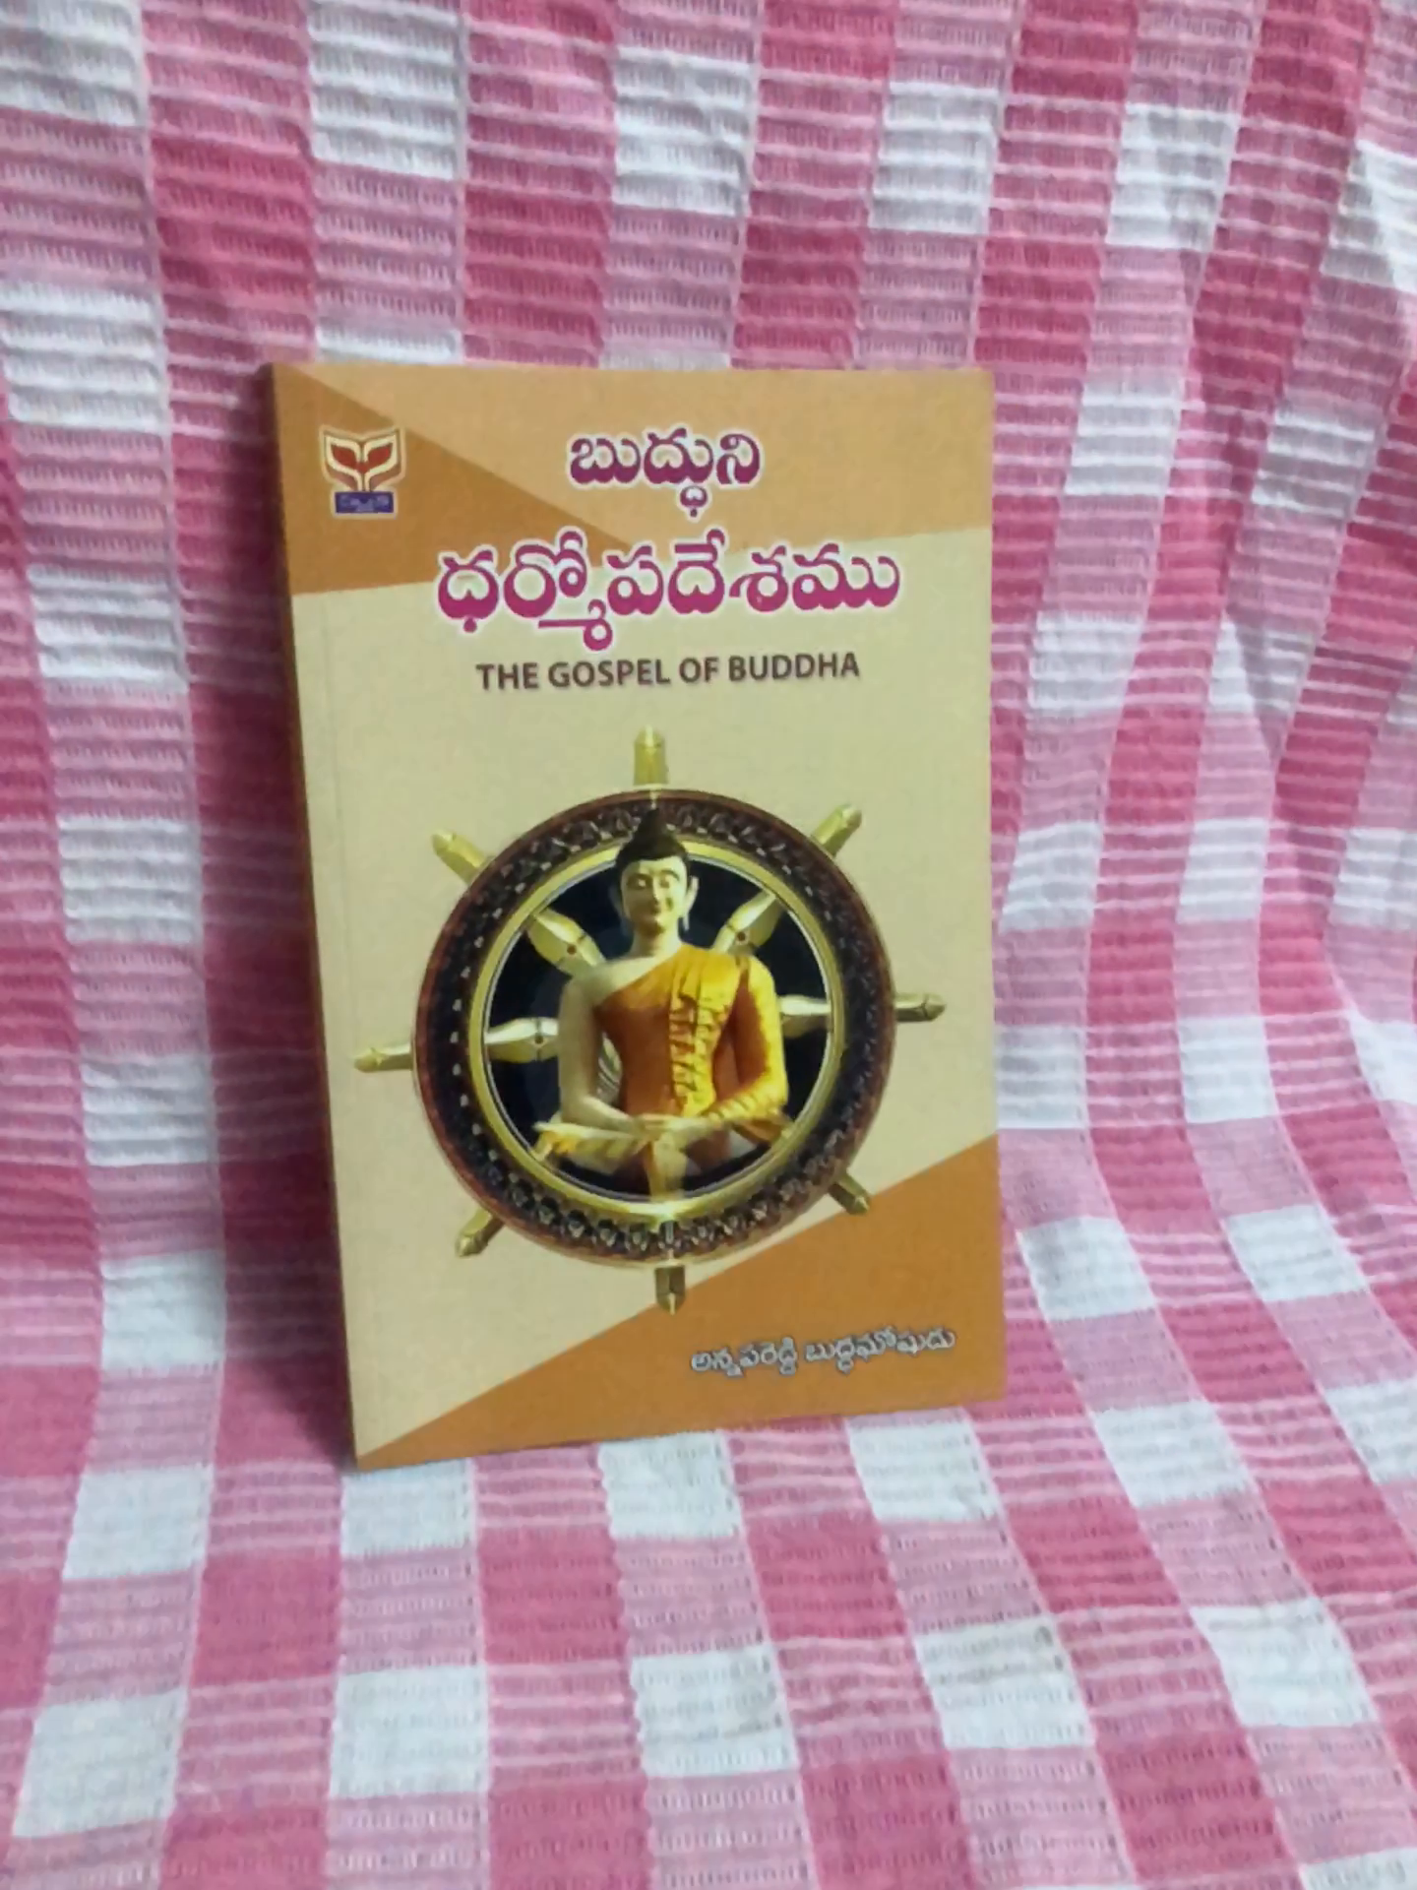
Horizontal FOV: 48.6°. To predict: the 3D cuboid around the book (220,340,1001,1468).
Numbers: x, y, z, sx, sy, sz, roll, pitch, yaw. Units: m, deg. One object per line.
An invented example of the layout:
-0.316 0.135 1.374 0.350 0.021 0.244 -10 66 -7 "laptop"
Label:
-0.014 -0.007 0.309 0.140 0.210 0.020 -3 9 -8 "book"
